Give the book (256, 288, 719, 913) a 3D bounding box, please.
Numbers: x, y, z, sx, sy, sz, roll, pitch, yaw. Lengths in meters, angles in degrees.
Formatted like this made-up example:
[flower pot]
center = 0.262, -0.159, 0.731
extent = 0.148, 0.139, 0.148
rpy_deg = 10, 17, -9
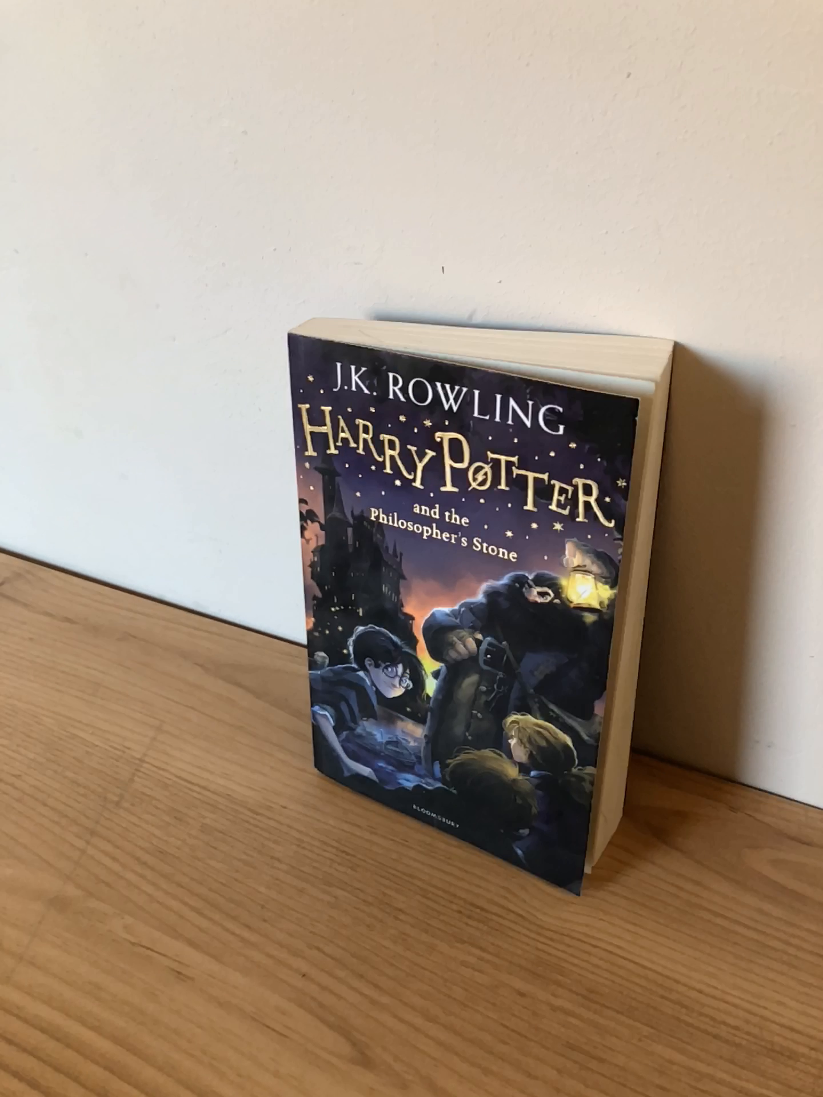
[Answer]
[book]
center = 0.021, 0.015, 0.341
extent = 0.135, 0.192, 0.068
rpy_deg = 17, 31, 28
